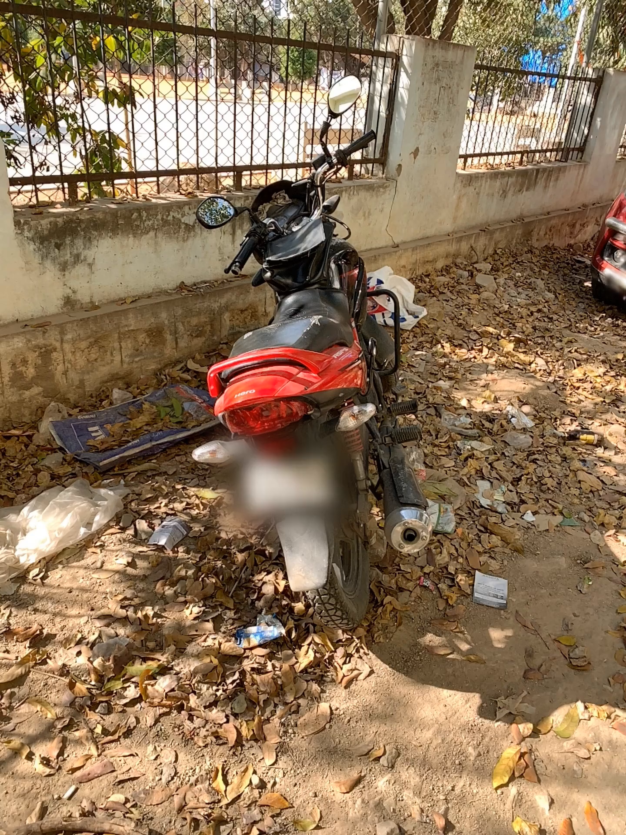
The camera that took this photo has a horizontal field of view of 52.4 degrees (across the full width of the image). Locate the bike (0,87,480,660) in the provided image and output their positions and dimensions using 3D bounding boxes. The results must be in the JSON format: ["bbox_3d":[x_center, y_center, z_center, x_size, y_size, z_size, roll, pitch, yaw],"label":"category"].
[{"bbox_3d":[-0.141,-0.257,1.838,0.822,1.067,1.296,4,31,0],"label":"bike"}]
